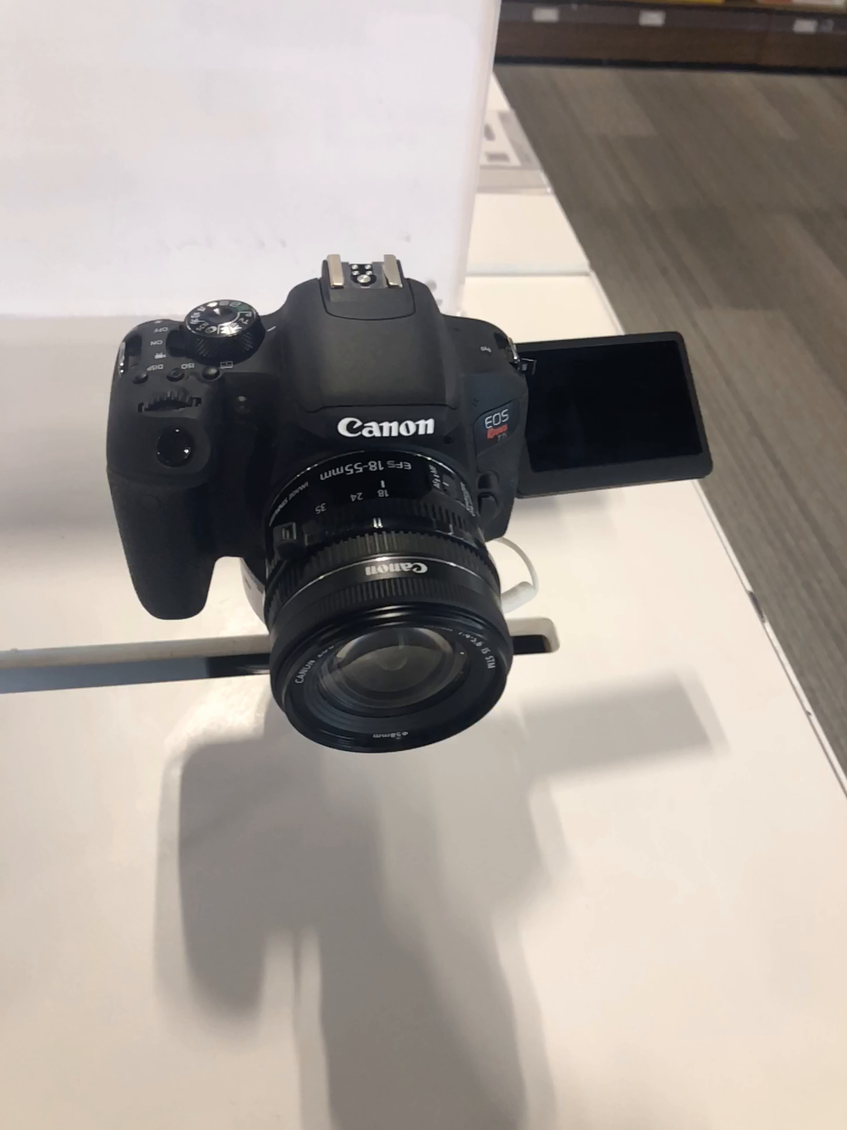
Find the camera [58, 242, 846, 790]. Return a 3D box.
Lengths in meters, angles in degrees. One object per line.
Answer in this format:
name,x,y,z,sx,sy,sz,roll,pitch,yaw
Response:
camera,0.016,-0.020,0.278,0.210,0.099,0.111,-5,48,-10
